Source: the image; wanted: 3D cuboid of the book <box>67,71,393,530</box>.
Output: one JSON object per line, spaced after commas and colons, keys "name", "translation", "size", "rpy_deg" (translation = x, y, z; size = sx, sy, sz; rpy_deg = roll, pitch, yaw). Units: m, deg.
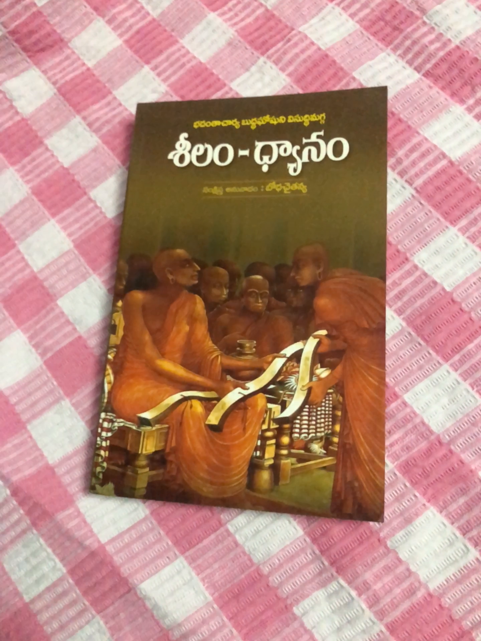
{"name": "book", "translation": [-0.001, -0.018, 0.260], "size": [0.140, 0.020, 0.210], "rpy_deg": [2, 78, 11]}
